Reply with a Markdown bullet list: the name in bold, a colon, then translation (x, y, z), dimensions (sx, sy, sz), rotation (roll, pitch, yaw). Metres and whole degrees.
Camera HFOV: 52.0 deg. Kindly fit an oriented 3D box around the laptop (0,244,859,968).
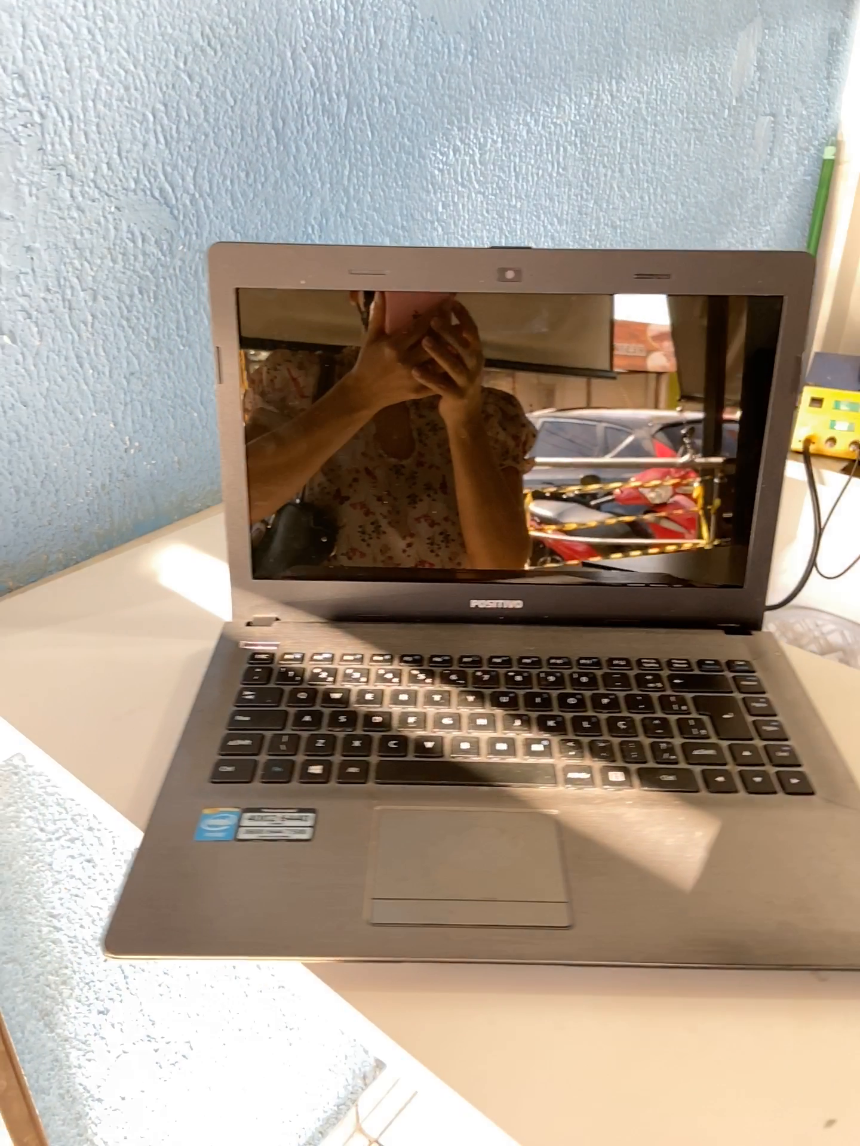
- **laptop**: translation (0.039, -0.016, 0.420), dimensions (0.334, 0.211, 0.284), rotation (1, 29, 1)
